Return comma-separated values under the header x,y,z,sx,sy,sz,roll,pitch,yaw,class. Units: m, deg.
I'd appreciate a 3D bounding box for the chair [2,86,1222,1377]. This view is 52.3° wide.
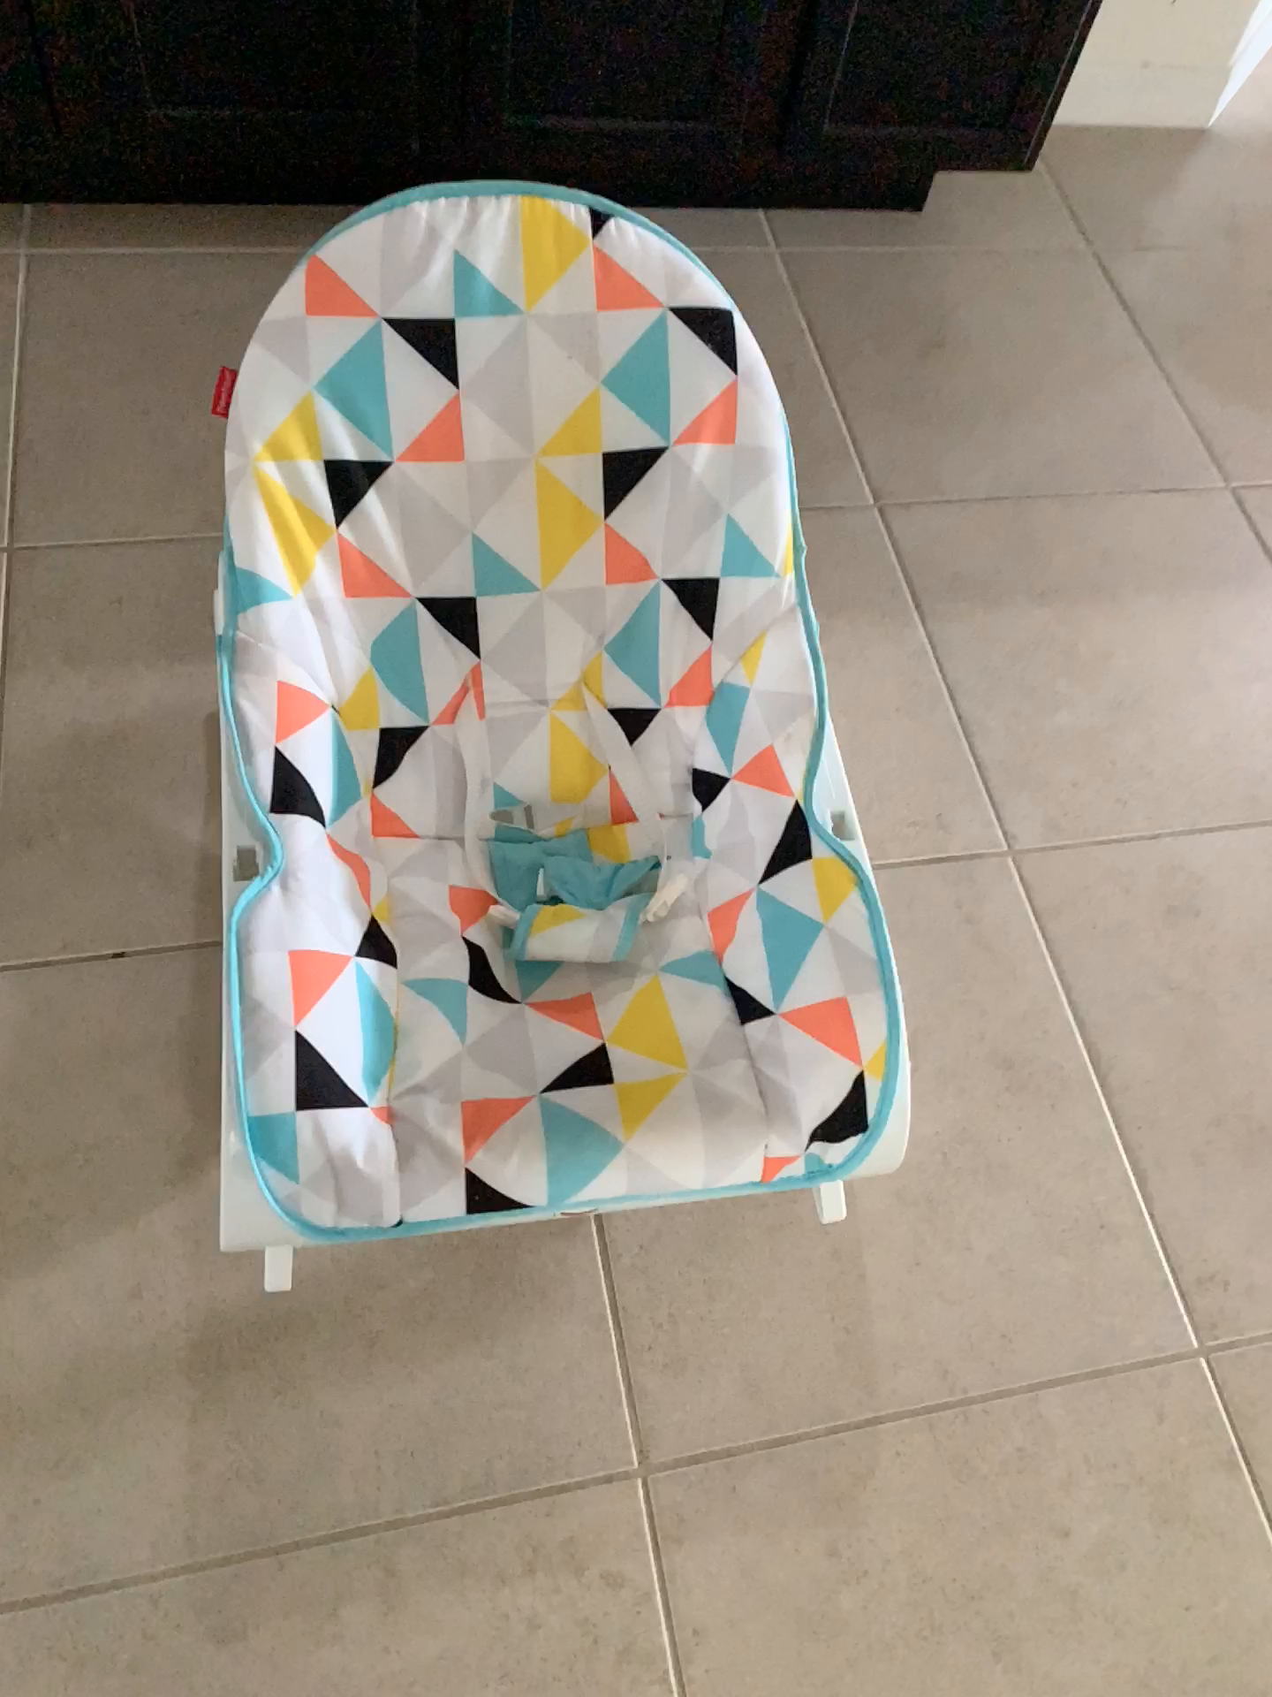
x,y,z,sx,sy,sz,roll,pitch,yaw,class
-0.082,-0.089,0.935,0.531,0.486,0.735,-6,62,-11,chair
